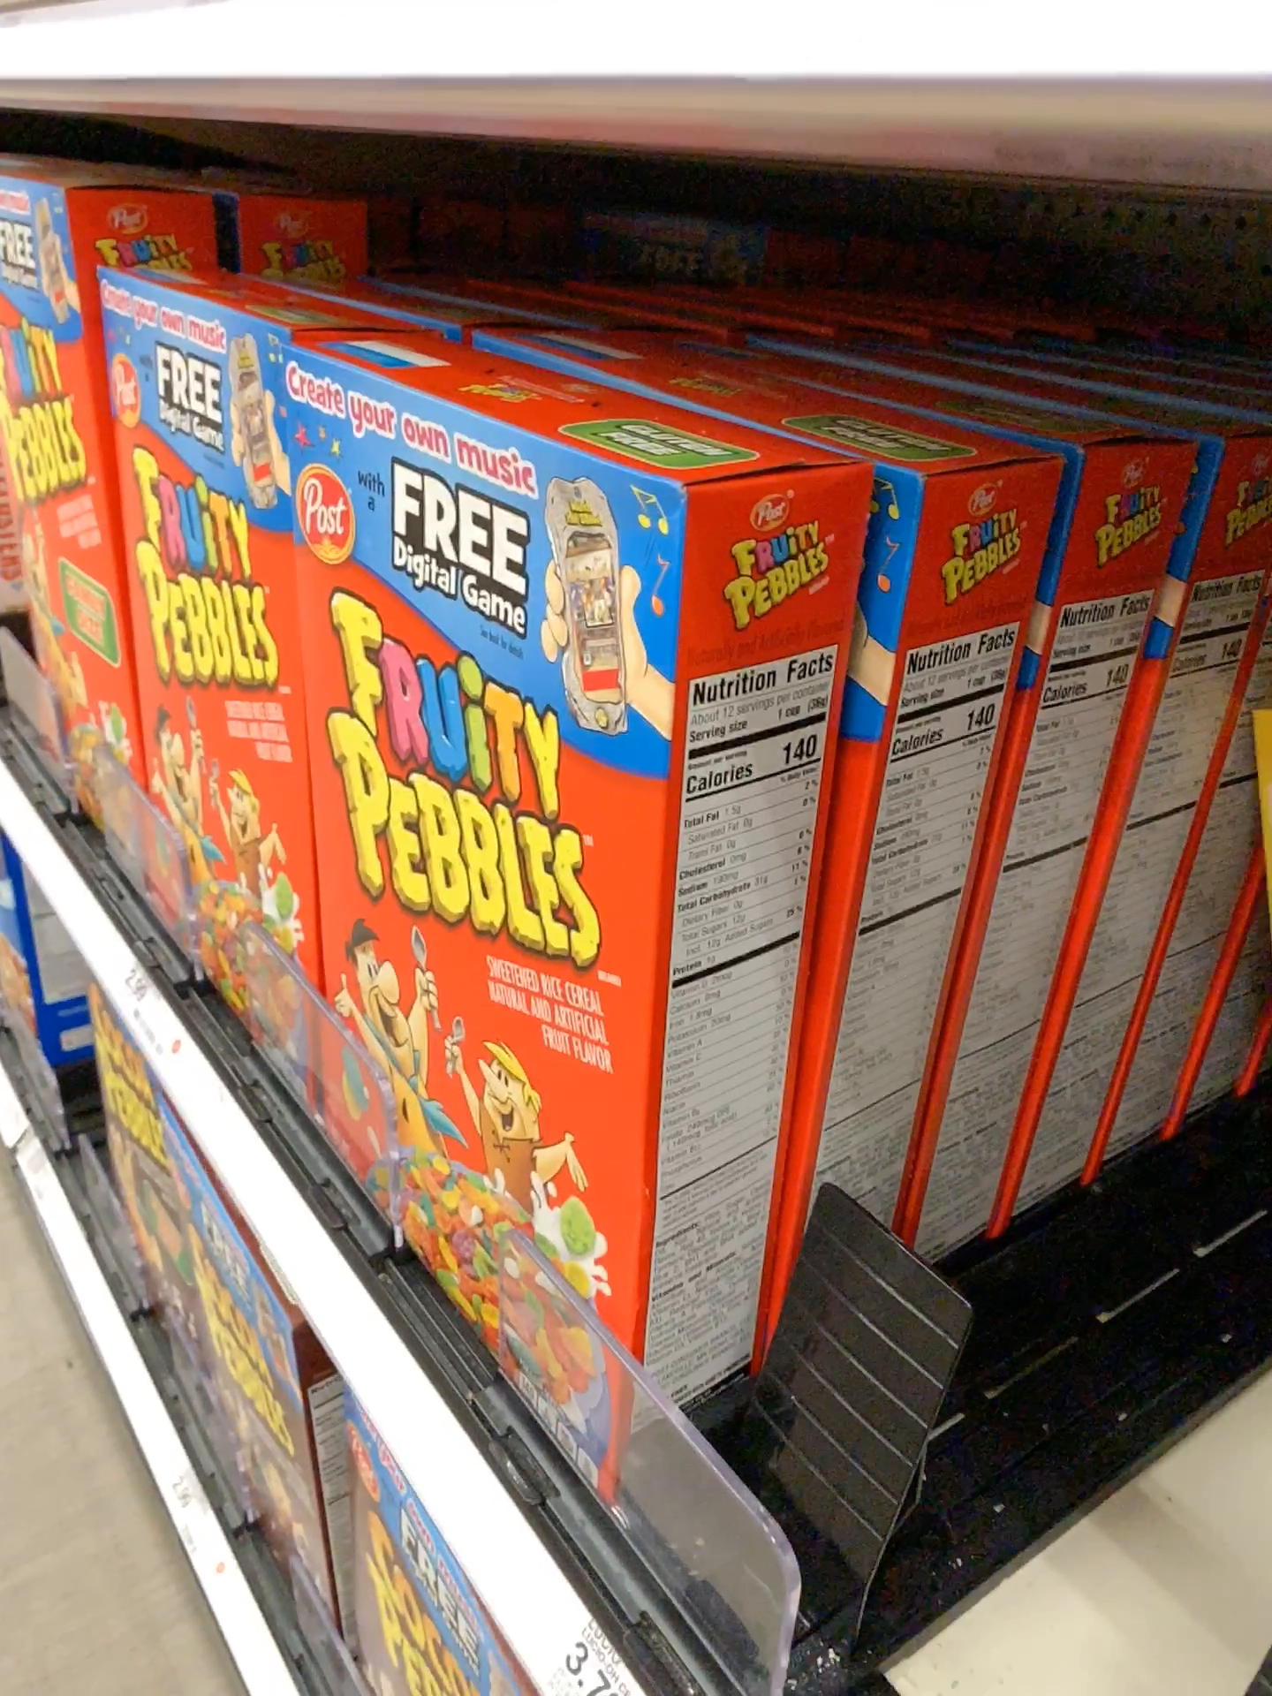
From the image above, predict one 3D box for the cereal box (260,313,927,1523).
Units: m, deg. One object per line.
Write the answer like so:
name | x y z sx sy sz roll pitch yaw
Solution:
cereal box | -0.032 0.011 0.384 0.060 0.289 0.201 -16 33 -33
